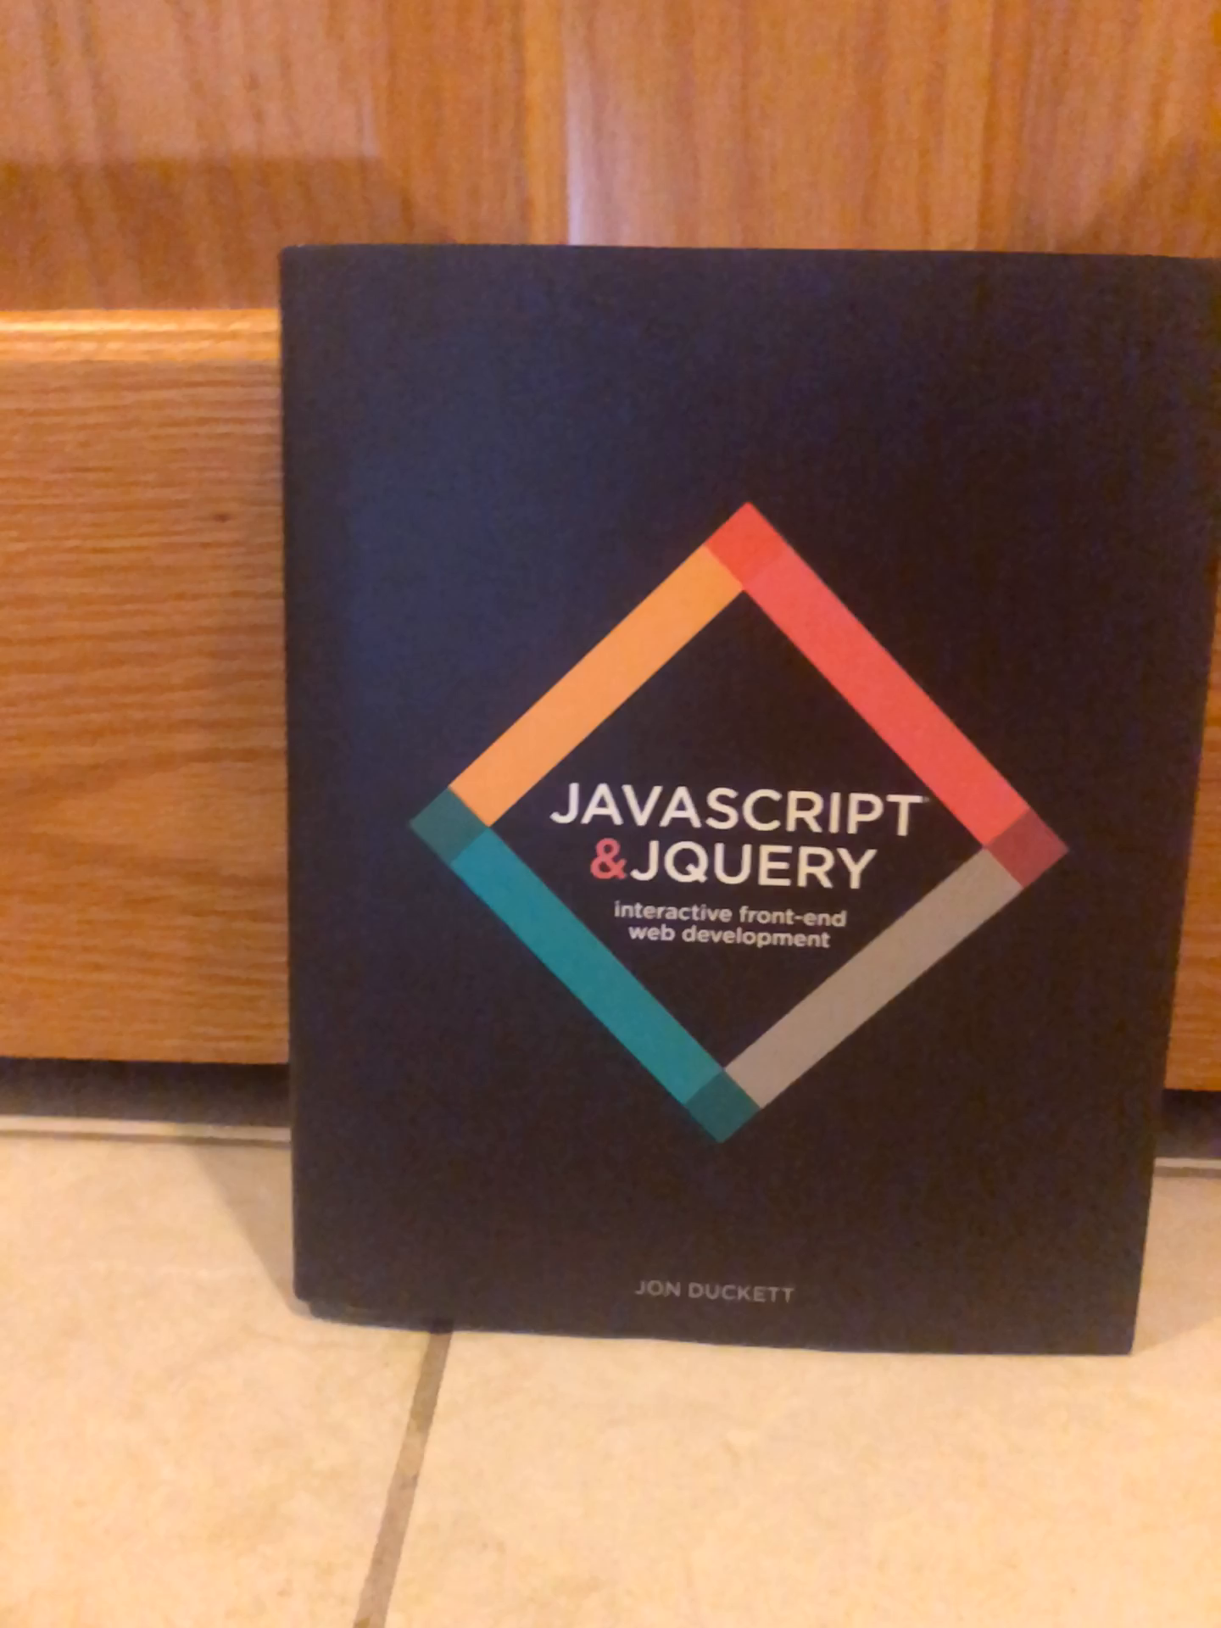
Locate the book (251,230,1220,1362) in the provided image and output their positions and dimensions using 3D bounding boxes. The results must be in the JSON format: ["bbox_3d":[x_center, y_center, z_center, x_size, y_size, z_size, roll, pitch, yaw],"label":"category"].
[{"bbox_3d":[0.028,-0.003,0.316,0.200,0.238,0.060,1,10,4],"label":"book"}]
